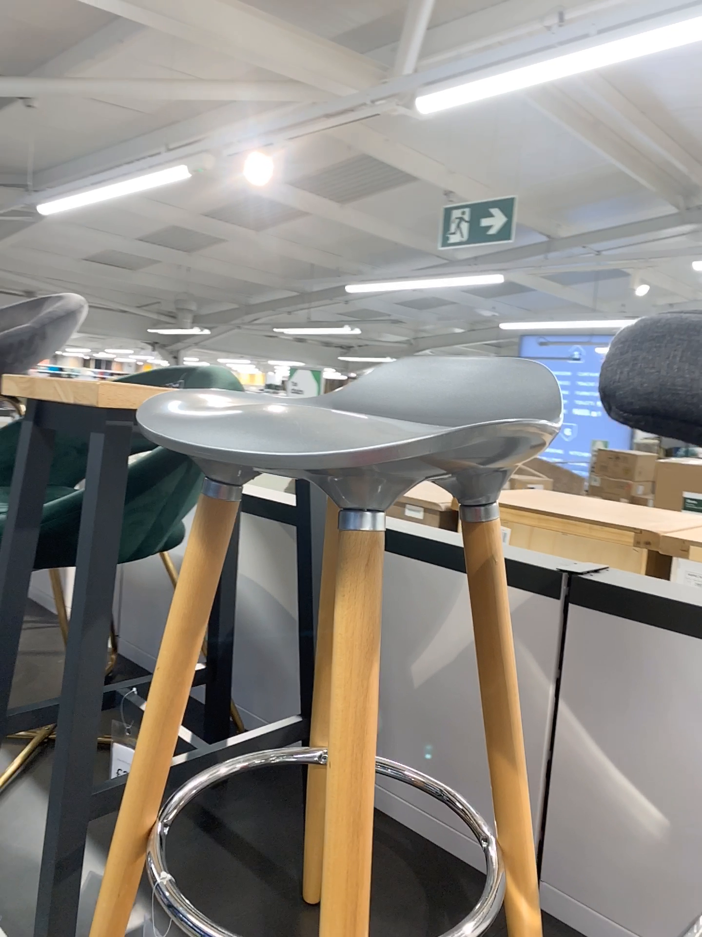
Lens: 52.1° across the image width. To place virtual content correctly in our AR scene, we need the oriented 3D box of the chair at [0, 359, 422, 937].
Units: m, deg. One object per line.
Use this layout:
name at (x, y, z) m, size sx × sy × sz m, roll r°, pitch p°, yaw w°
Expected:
chair at (-0.258, 0.219, 1.040) m, size 0.443 × 0.689 × 0.501 m, roll 9°, pitch 6°, yaw 42°

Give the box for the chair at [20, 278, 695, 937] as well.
chair at (0.000, 0.231, 0.746) m, size 0.443 × 0.739 × 0.461 m, roll 9°, pitch 6°, yaw 44°
